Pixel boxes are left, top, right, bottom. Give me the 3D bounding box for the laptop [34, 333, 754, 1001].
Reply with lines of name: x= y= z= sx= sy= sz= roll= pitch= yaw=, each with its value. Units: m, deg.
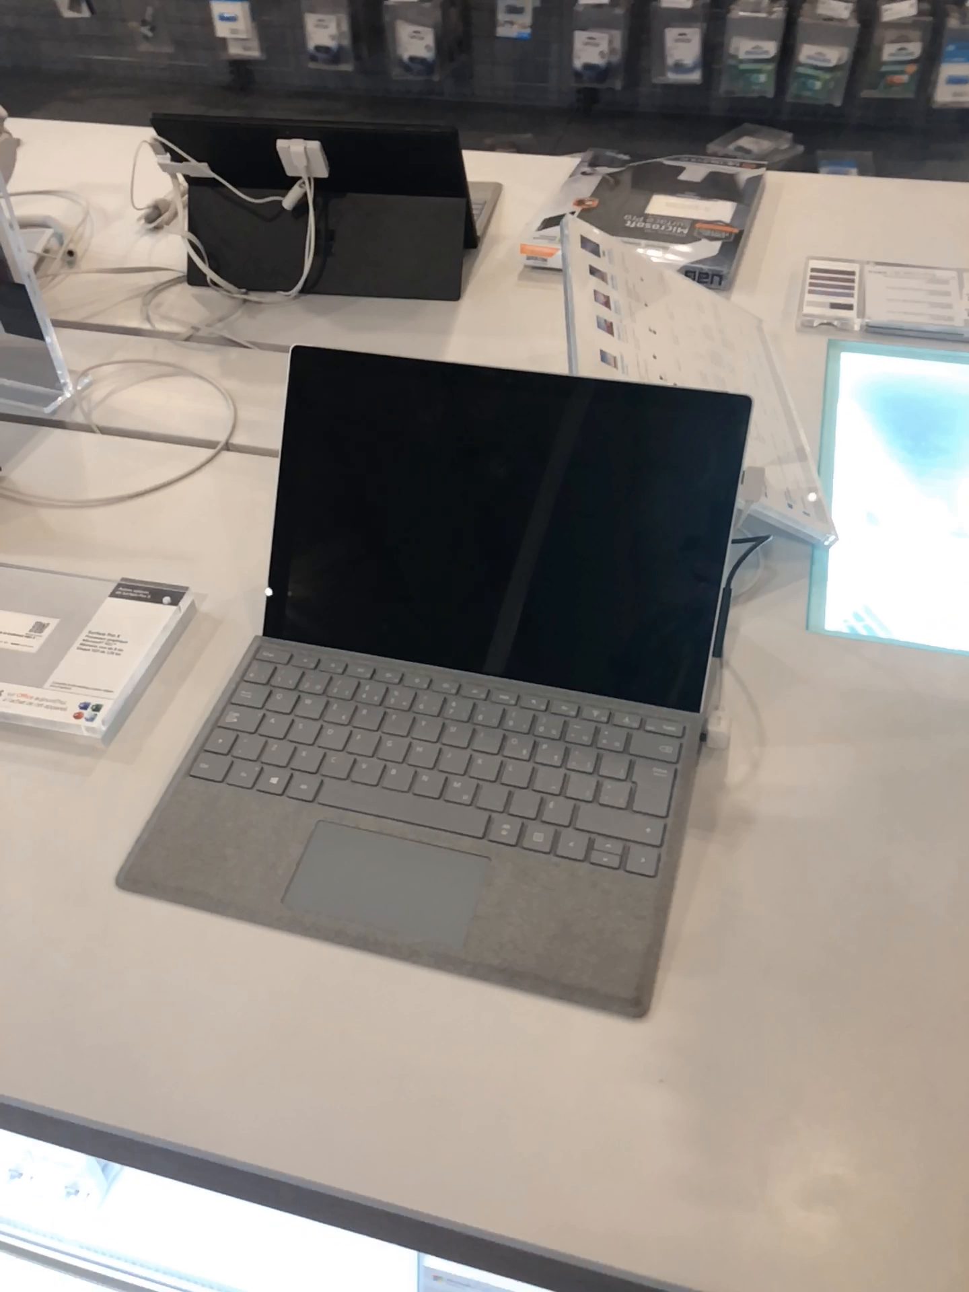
laptop: x=-0.023 y=-0.012 z=0.589 sx=0.279 sy=0.147 sz=0.298 roll=10 pitch=49 yaw=13
